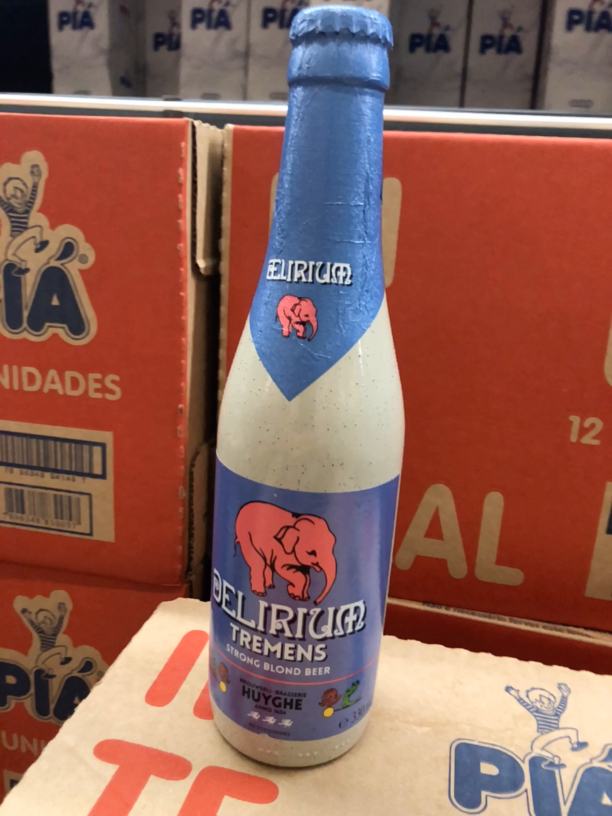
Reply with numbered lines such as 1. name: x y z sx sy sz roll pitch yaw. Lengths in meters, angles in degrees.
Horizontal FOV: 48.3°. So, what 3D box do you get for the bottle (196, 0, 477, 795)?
1. bottle: 0.009 0.000 0.220 0.060 0.219 0.060 4 12 -1
